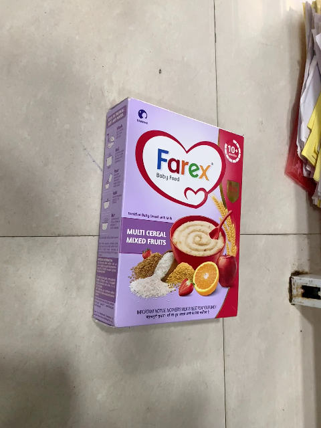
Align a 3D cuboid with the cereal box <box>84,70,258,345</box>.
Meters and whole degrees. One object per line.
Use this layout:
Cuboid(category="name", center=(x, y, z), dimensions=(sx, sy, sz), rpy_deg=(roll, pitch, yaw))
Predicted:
Cuboid(category="cereal box", center=(0.018, 0.001, 0.318), dimensions=(0.151, 0.060, 0.210), rpy_deg=(7, 83, -35))
